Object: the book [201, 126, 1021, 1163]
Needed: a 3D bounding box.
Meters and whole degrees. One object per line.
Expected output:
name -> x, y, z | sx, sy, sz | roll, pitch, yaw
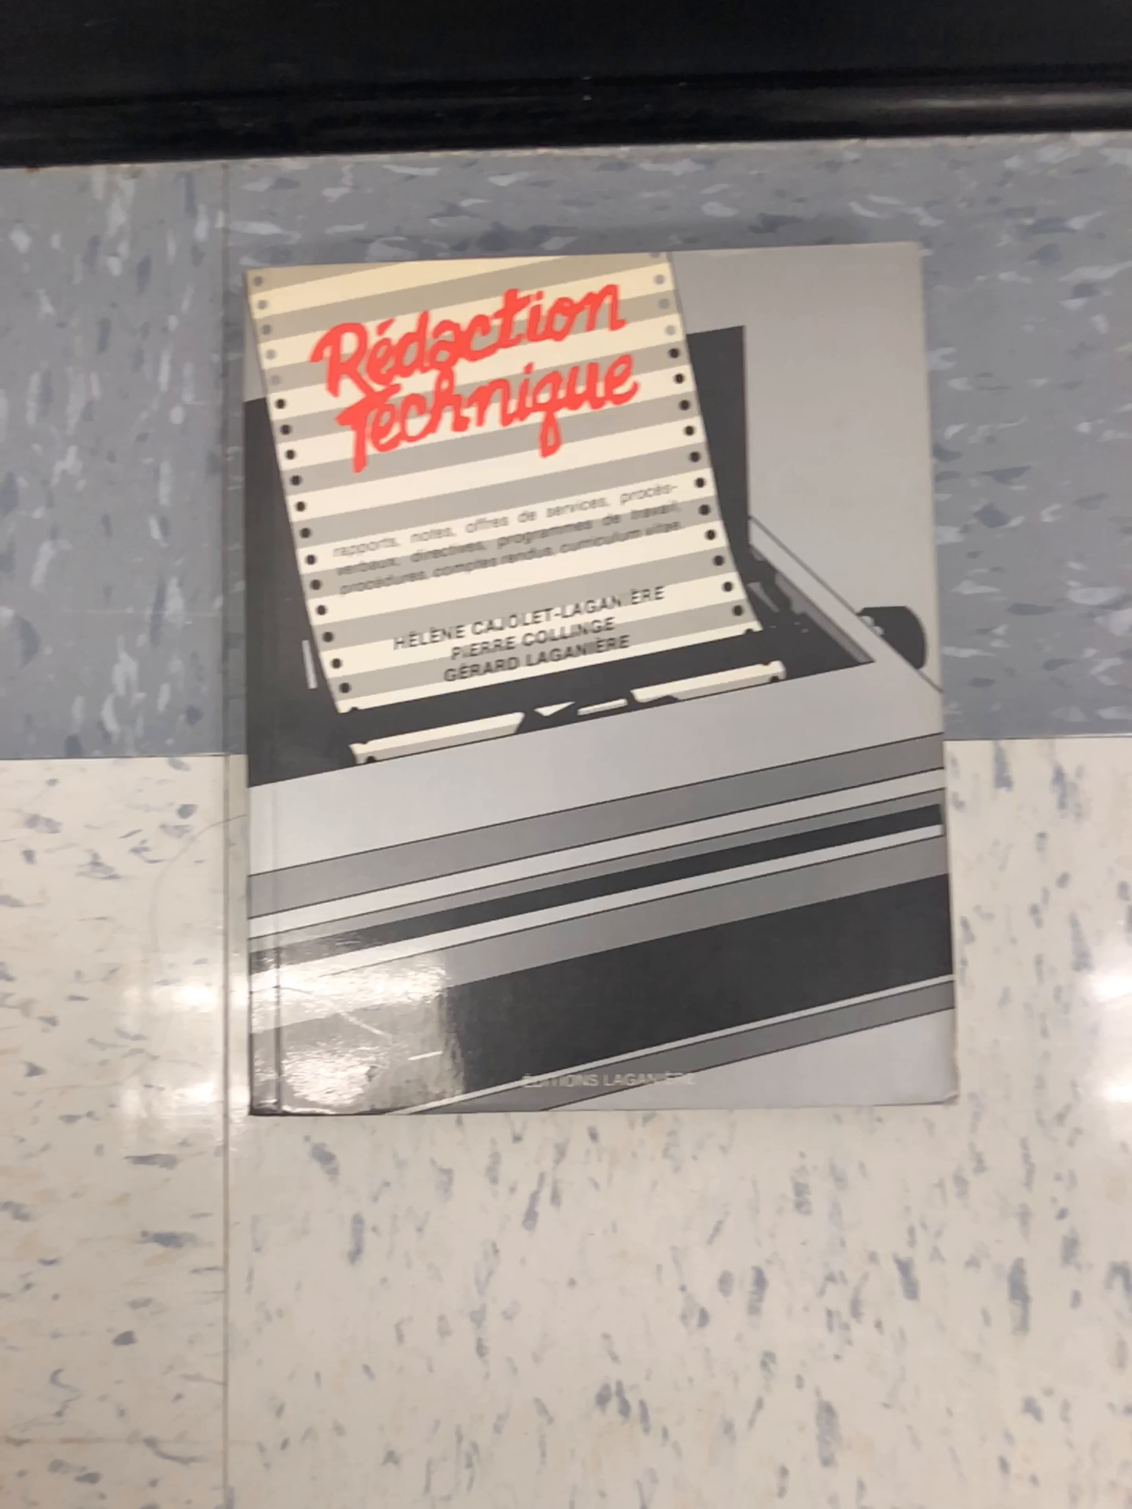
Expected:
book -> 0.007, -0.025, 0.290 | 0.170, 0.040, 0.220 | -2, 86, 2
